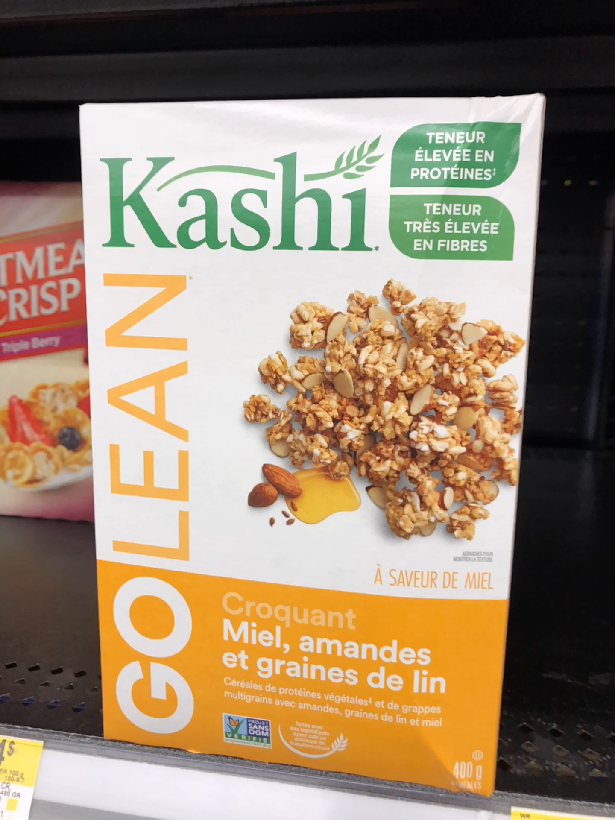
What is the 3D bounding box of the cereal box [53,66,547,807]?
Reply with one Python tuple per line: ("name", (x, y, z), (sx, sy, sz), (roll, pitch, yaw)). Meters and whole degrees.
("cereal box", (-0.006, 0.014, 0.282), (0.170, 0.269, 0.050), (3, 12, 11))
